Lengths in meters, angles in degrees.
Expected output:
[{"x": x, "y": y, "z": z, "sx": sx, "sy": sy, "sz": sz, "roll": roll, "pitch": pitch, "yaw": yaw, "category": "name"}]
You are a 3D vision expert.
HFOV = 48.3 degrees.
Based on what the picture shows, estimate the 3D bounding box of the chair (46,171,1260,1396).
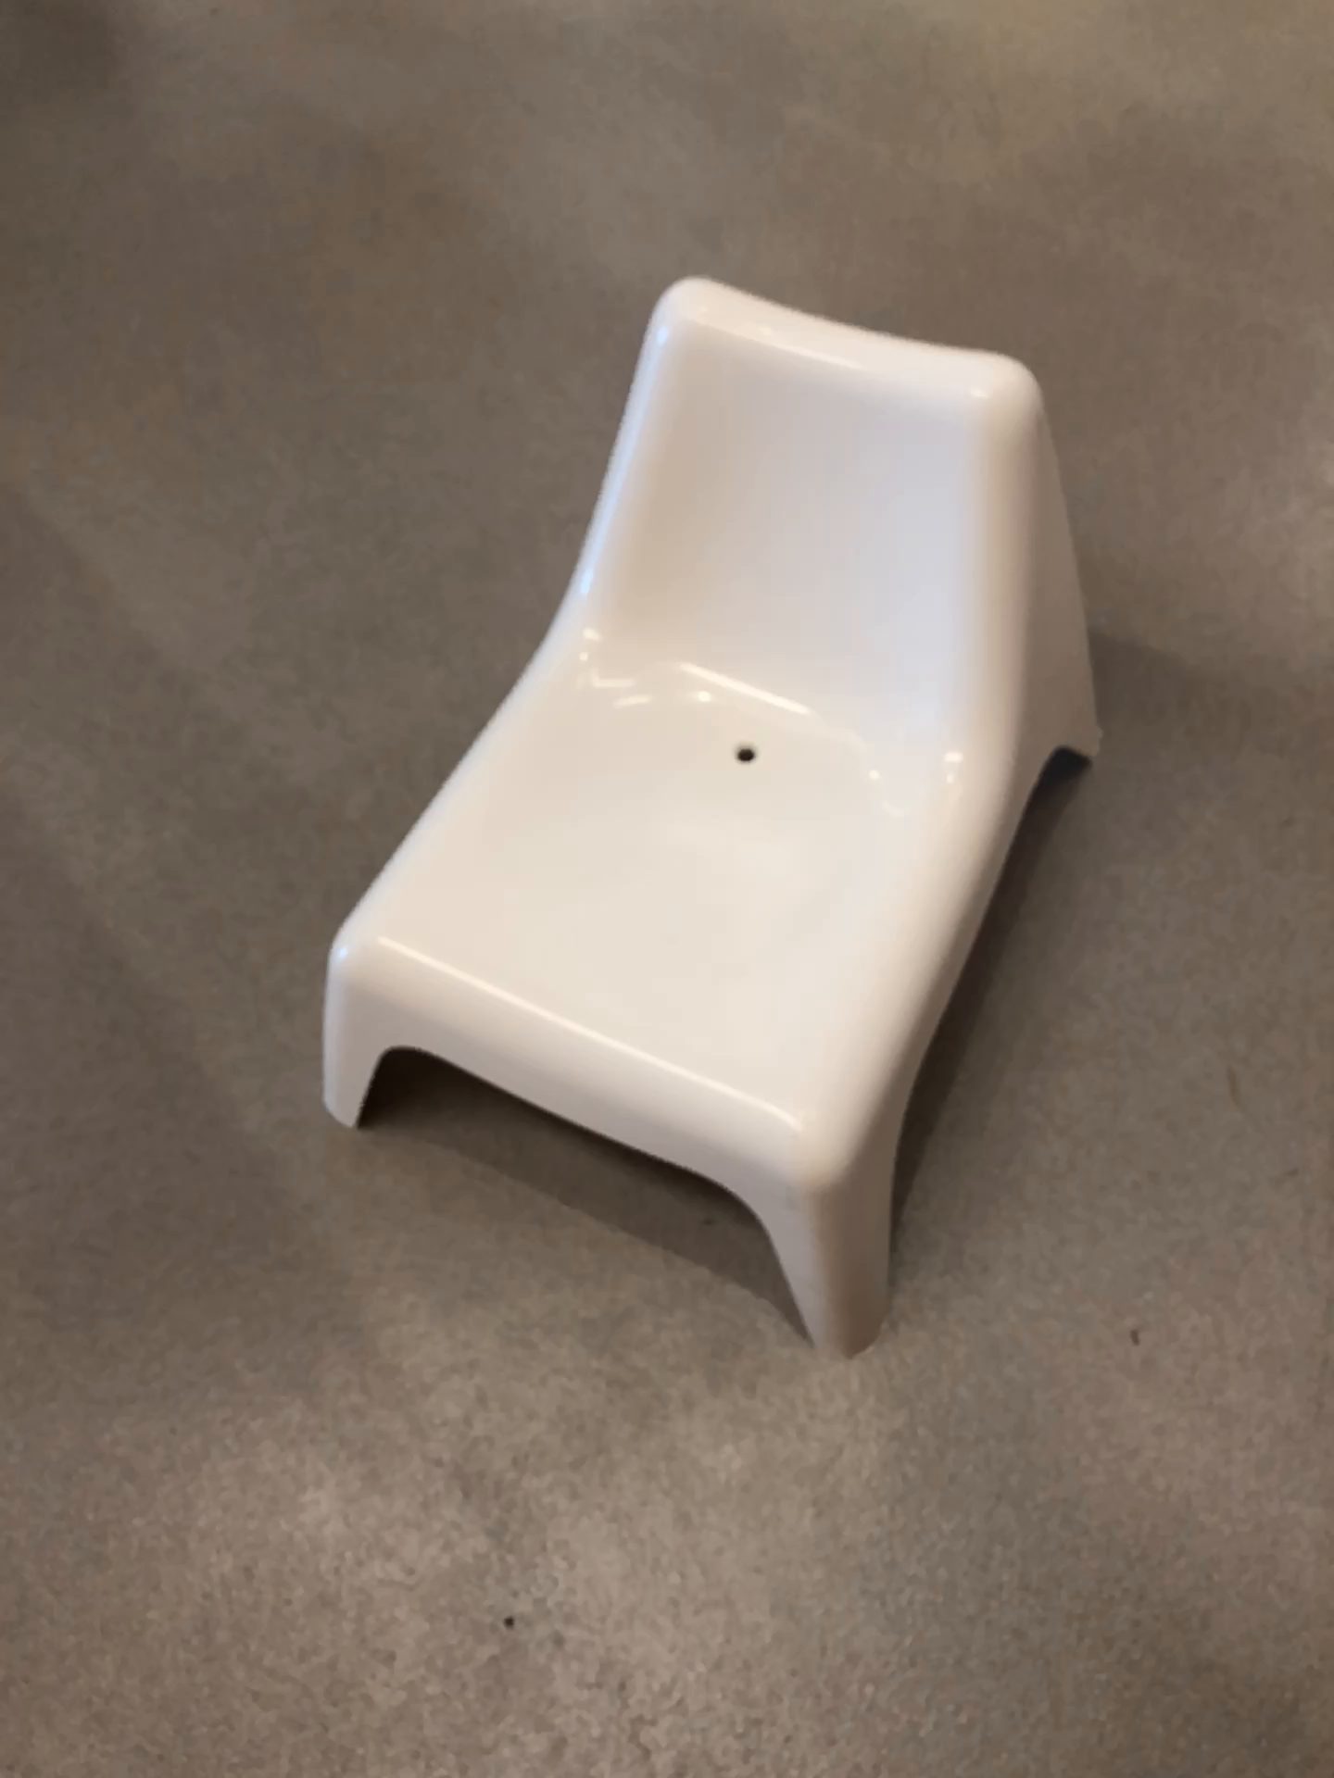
[{"x": 0.036, "y": -0.097, "z": 1.121, "sx": 0.530, "sy": 0.399, "sz": 0.690, "roll": 20, "pitch": 65, "yaw": 16, "category": "chair"}]
